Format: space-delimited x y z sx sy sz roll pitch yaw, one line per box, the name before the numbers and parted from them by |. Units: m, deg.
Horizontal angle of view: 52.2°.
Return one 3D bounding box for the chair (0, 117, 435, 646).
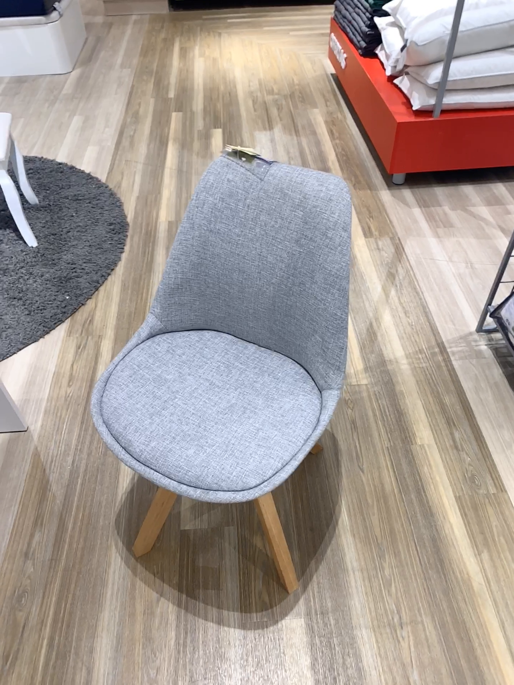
chair | -0.054 0.111 1.074 0.514 0.856 0.517 20 50 20
